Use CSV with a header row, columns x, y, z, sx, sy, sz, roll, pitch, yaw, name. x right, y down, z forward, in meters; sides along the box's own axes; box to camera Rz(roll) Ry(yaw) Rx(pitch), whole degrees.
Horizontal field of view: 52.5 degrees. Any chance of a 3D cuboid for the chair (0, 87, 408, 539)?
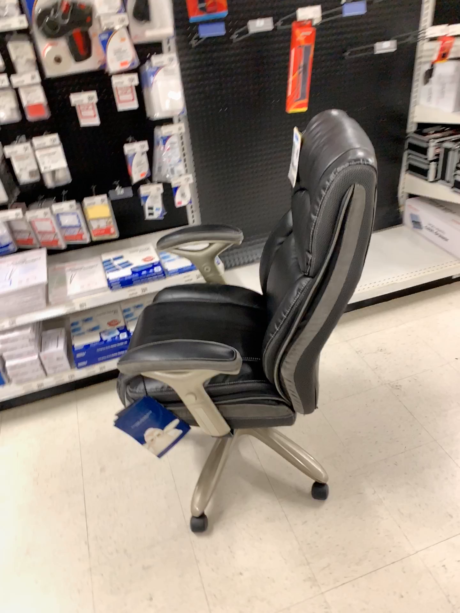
x,y,z,sx,sy,sz,roll,pitch,yaw,name
-0.022,0.036,1.406,0.740,1.094,0.744,-3,35,4,chair
